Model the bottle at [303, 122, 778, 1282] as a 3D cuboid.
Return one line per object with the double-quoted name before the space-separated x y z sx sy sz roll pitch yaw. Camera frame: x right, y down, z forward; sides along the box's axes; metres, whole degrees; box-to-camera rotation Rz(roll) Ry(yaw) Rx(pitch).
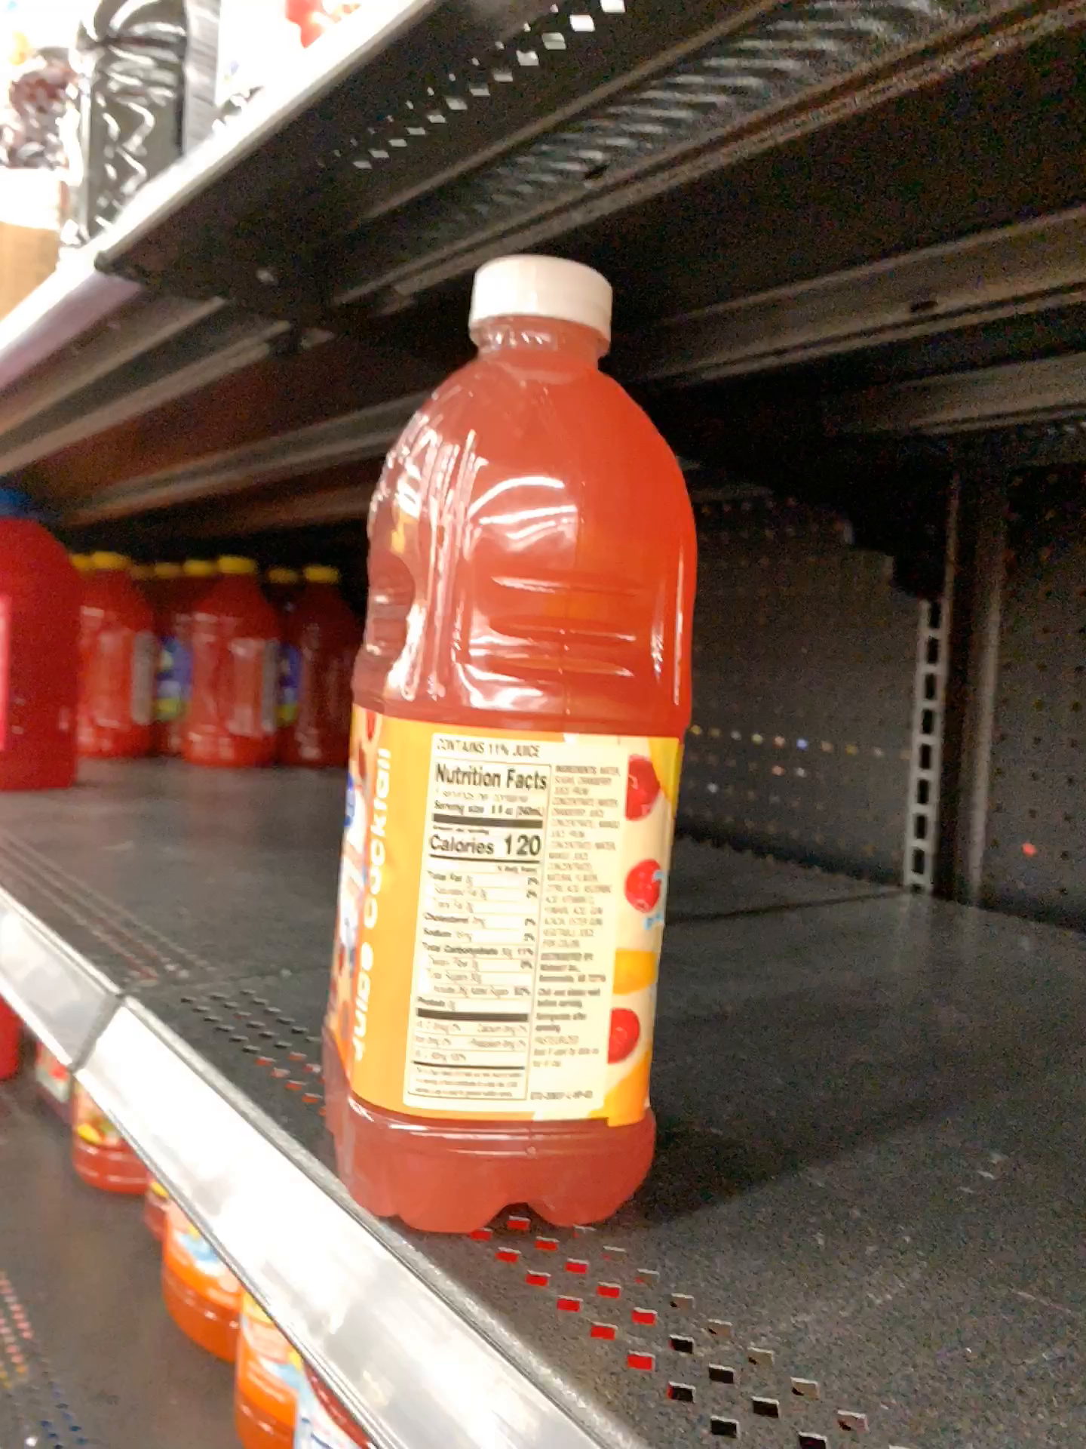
"bottle" -0.011 -0.005 0.336 0.101 0.273 0.119 2 3 -15
